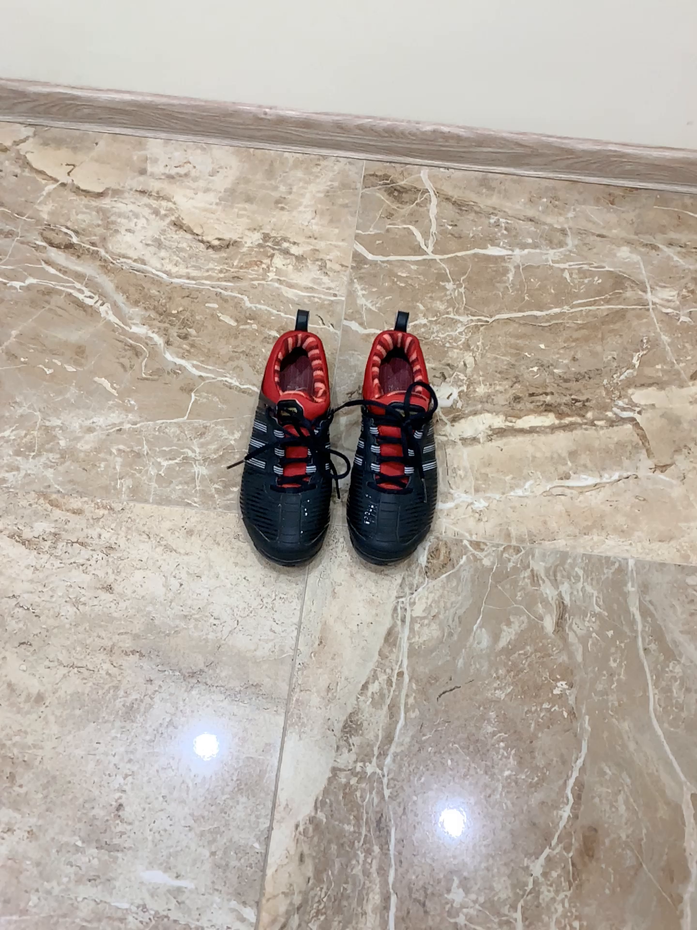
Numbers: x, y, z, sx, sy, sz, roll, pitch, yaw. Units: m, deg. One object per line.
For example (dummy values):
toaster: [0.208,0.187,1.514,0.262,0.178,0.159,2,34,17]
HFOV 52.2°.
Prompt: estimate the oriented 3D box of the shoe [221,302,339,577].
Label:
shoe: [-0.062,-0.032,0.725,0.095,0.090,0.271,2,60,-2]

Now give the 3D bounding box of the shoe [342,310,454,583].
shoe: [0.046,-0.024,0.735,0.095,0.090,0.271,2,60,-2]
